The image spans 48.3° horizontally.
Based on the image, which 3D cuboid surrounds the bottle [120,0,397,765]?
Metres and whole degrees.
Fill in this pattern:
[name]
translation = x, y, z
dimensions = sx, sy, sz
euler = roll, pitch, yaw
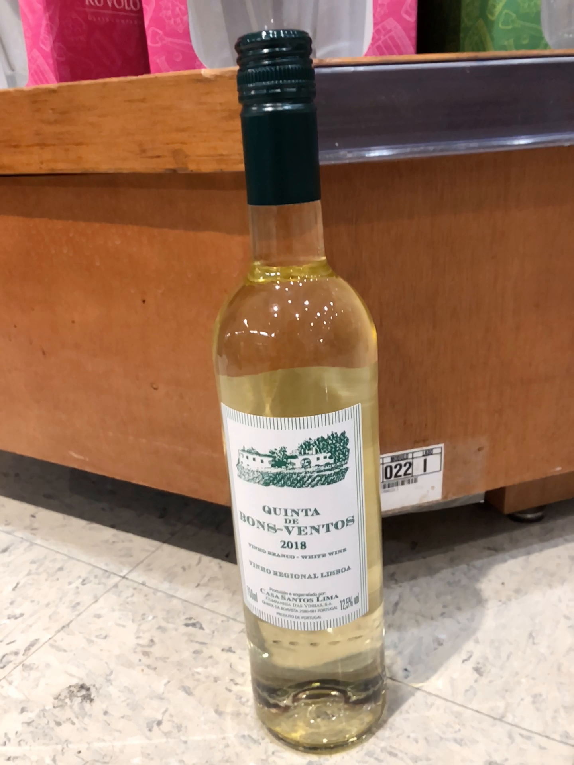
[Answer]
[bottle]
translation = 0.004, 0.018, 0.282
dimensions = 0.080, 0.308, 0.081
euler = -4, 21, 1
